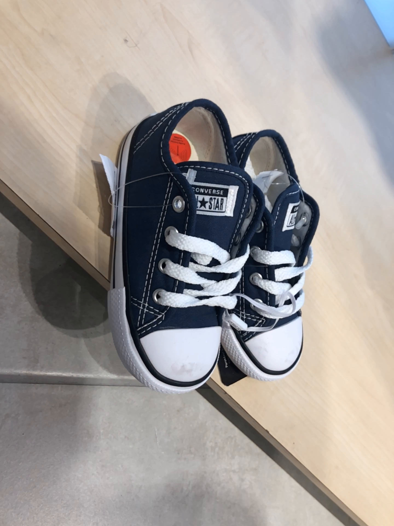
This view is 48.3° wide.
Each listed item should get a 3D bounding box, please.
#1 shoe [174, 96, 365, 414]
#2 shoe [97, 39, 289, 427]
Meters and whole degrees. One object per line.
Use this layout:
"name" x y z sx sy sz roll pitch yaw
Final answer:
"shoe" 0.047 -0.006 0.282 0.080 0.060 0.170 -8 90 -39
"shoe" -0.003 -0.012 0.239 0.080 0.060 0.170 4 82 -38
